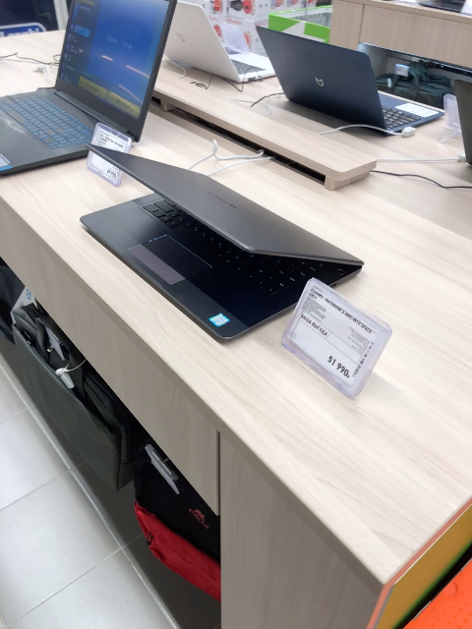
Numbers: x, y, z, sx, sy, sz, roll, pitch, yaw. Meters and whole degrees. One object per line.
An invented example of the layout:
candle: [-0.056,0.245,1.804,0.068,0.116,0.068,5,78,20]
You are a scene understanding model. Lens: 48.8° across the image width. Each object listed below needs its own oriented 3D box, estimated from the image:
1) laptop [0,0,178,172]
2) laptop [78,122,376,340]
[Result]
laptop: [-0.369,-0.505,1.023,0.378,0.231,0.349,-27,48,-30]
laptop: [-0.027,-0.140,0.705,0.221,0.100,0.345,-27,46,-29]
